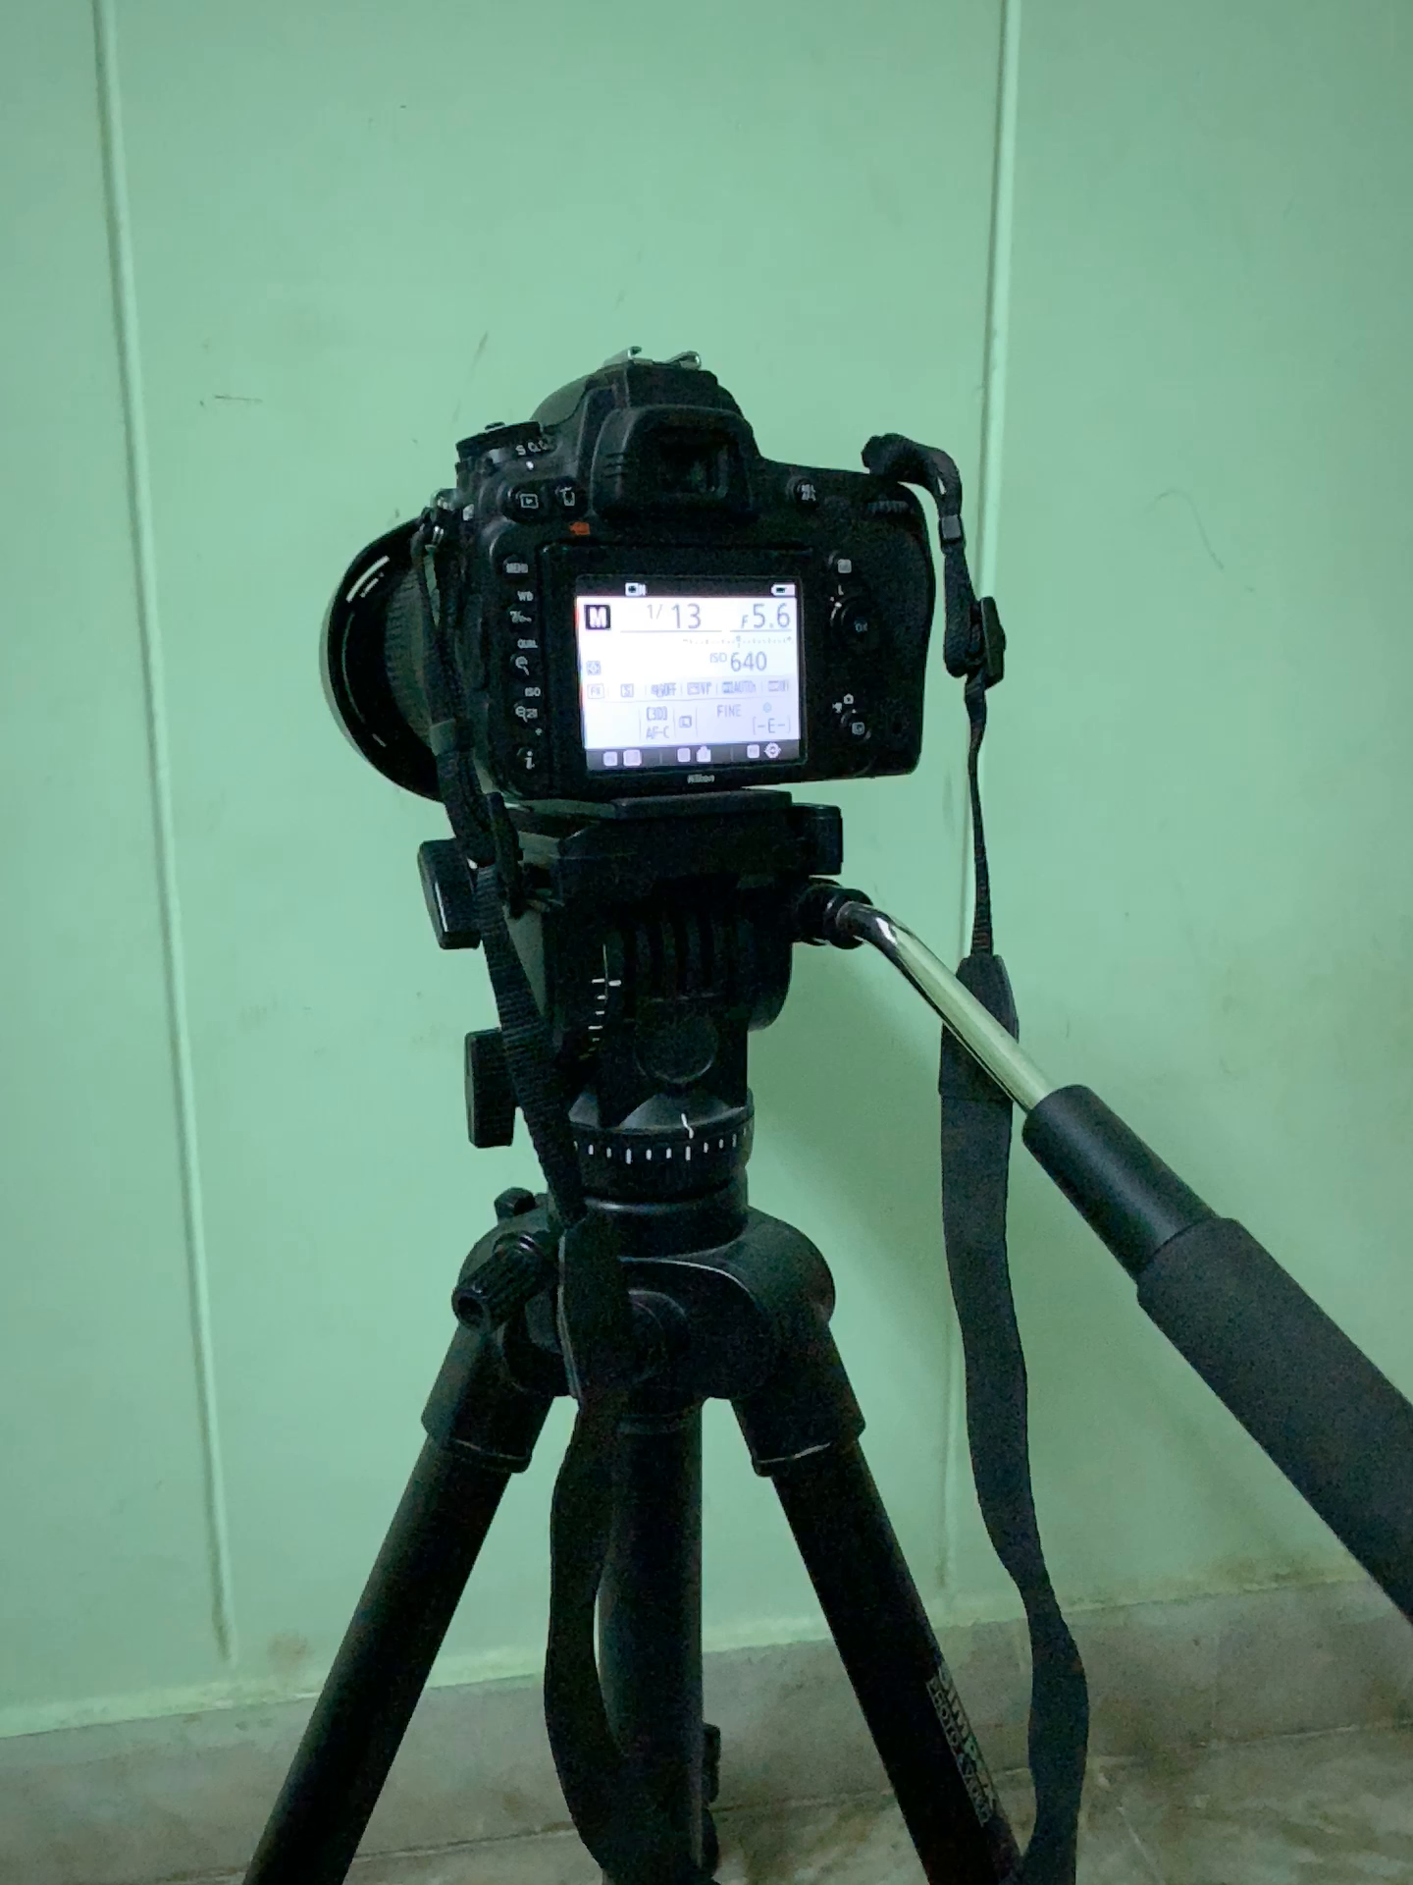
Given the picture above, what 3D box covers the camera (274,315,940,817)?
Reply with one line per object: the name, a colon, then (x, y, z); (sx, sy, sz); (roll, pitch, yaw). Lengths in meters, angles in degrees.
camera: (-0.041, -0.113, 0.461); (0.140, 0.117, 0.182); (-7, 14, -29)
